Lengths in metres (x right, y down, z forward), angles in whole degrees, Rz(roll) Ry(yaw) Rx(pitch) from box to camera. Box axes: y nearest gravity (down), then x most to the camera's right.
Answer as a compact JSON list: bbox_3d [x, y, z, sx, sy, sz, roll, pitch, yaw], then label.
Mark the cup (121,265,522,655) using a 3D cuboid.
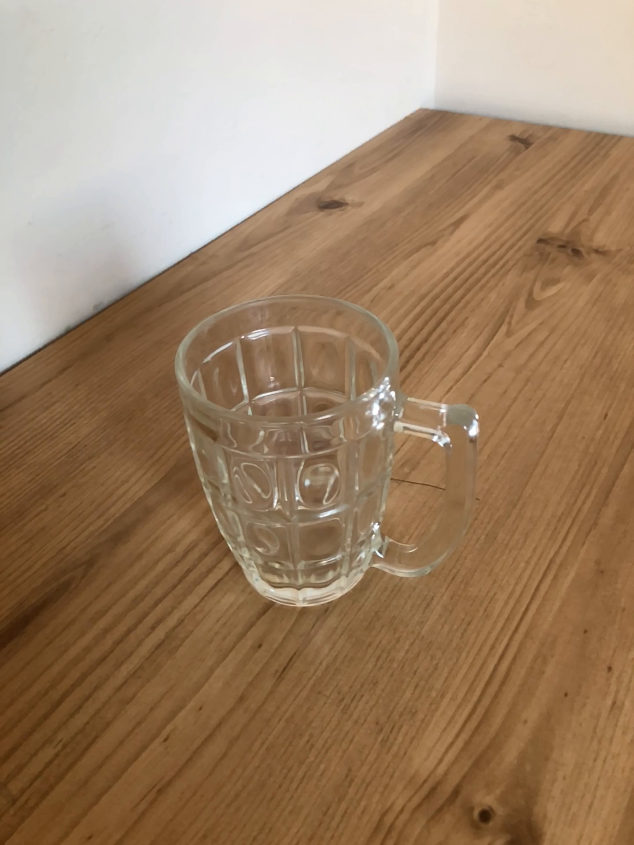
[{"bbox_3d":[0.008,0.011,0.283,0.119,0.102,0.089,12,44,18],"label":"cup"}]
